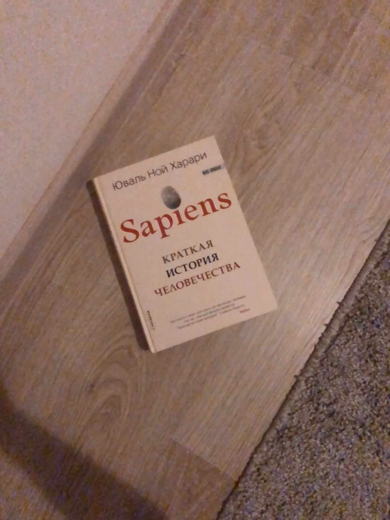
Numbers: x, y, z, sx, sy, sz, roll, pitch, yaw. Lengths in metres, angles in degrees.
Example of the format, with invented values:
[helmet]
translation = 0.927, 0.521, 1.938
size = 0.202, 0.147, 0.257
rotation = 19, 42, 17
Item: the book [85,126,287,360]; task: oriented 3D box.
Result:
[book]
translation = -0.015, -0.024, 0.569
size = 0.186, 0.040, 0.258
rotation = -20, 82, 1
